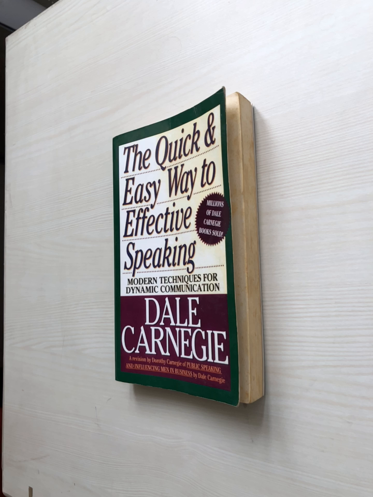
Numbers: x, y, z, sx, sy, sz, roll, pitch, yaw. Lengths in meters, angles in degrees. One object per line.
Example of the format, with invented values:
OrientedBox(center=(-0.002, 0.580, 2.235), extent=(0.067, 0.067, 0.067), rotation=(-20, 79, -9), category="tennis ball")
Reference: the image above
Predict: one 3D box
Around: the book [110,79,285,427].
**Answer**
OrientedBox(center=(0.001, 0.004, 0.266), extent=(0.111, 0.040, 0.180), rotation=(-5, 83, 43), category="book")
